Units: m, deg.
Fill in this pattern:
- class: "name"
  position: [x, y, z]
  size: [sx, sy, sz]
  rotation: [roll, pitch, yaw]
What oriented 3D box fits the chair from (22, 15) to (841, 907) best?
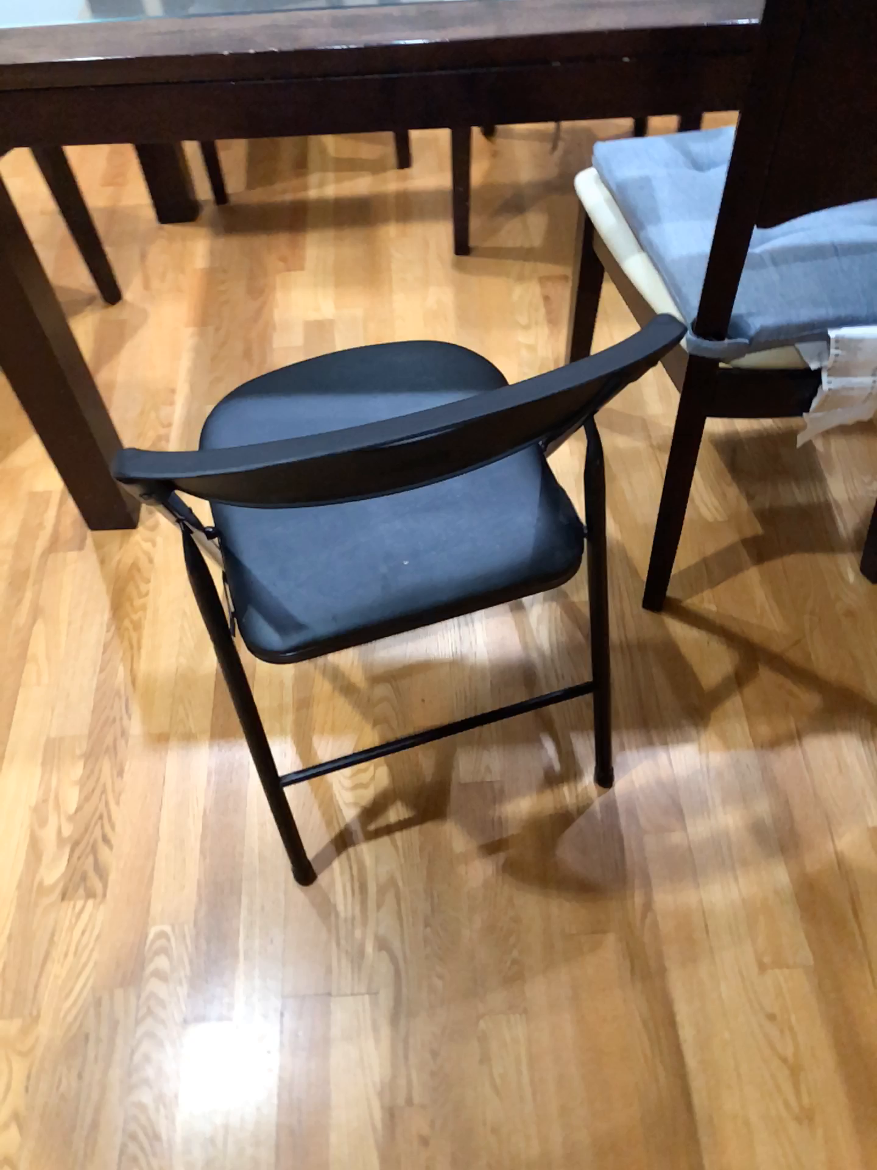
- class: "chair"
  position: [-0.039, -0.085, 1.036]
  size: [0.520, 0.697, 0.522]
  rotation: [-15, 56, -7]
